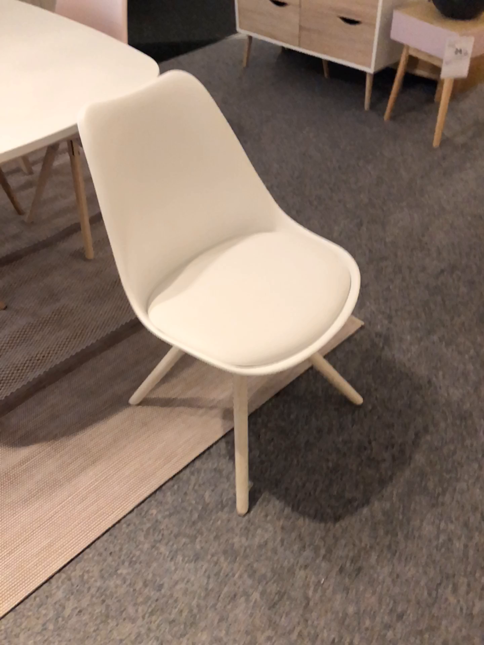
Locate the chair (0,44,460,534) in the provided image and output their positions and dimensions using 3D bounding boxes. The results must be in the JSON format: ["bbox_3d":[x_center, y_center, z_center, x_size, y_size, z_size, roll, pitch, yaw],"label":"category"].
[{"bbox_3d":[-0.015,-0.084,1.196,0.552,0.756,0.591,-36,53,-28],"label":"chair"}]
